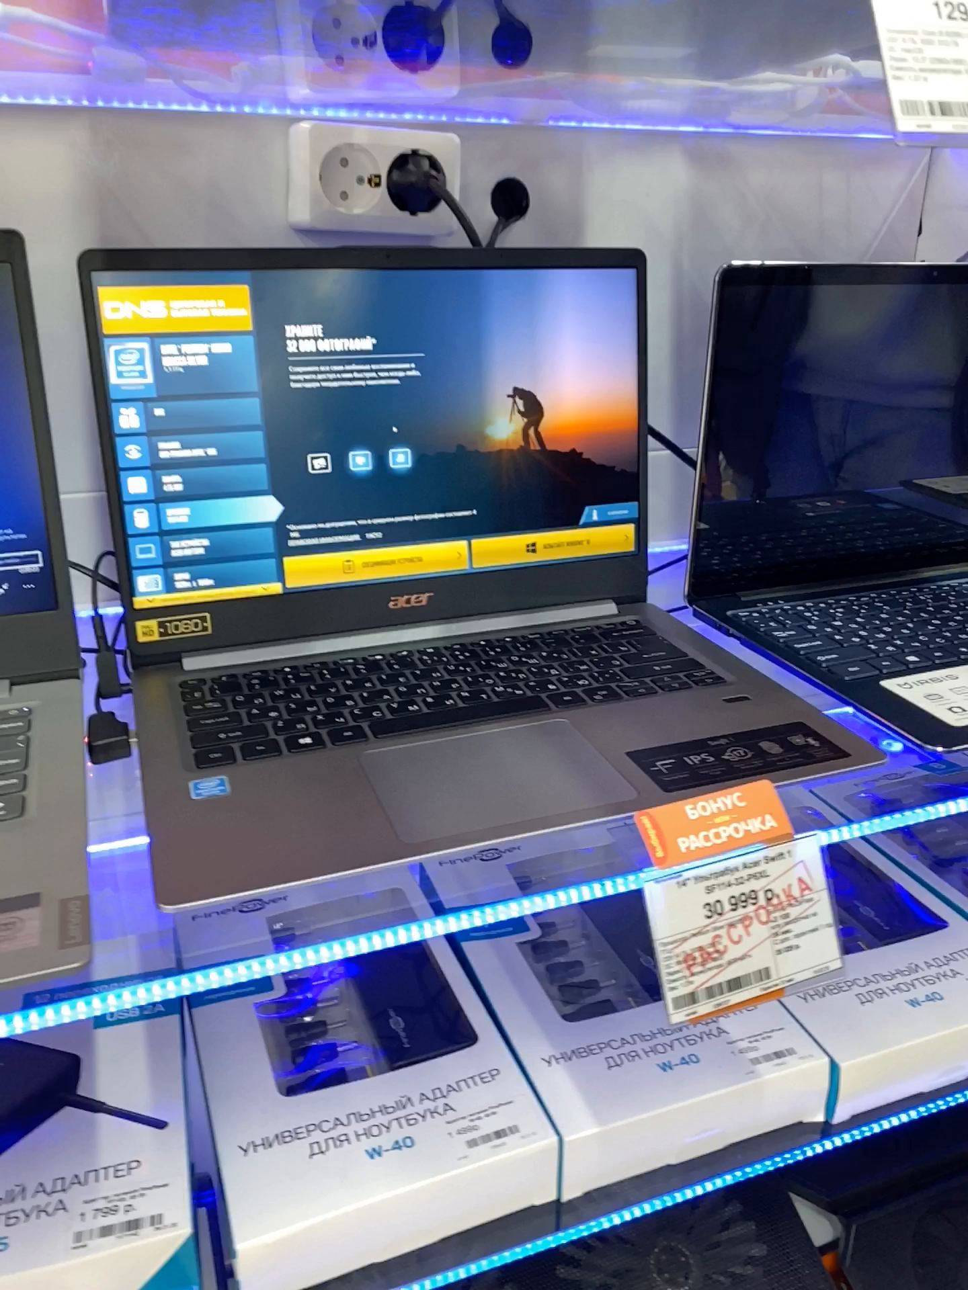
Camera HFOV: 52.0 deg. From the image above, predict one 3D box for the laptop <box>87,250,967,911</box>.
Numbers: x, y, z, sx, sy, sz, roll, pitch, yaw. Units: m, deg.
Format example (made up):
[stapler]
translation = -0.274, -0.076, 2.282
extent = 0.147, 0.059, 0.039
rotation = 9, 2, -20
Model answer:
[laptop]
translation = -0.004, -0.072, 0.470
extent = 0.319, 0.206, 0.258
rotation = -8, 24, -19
